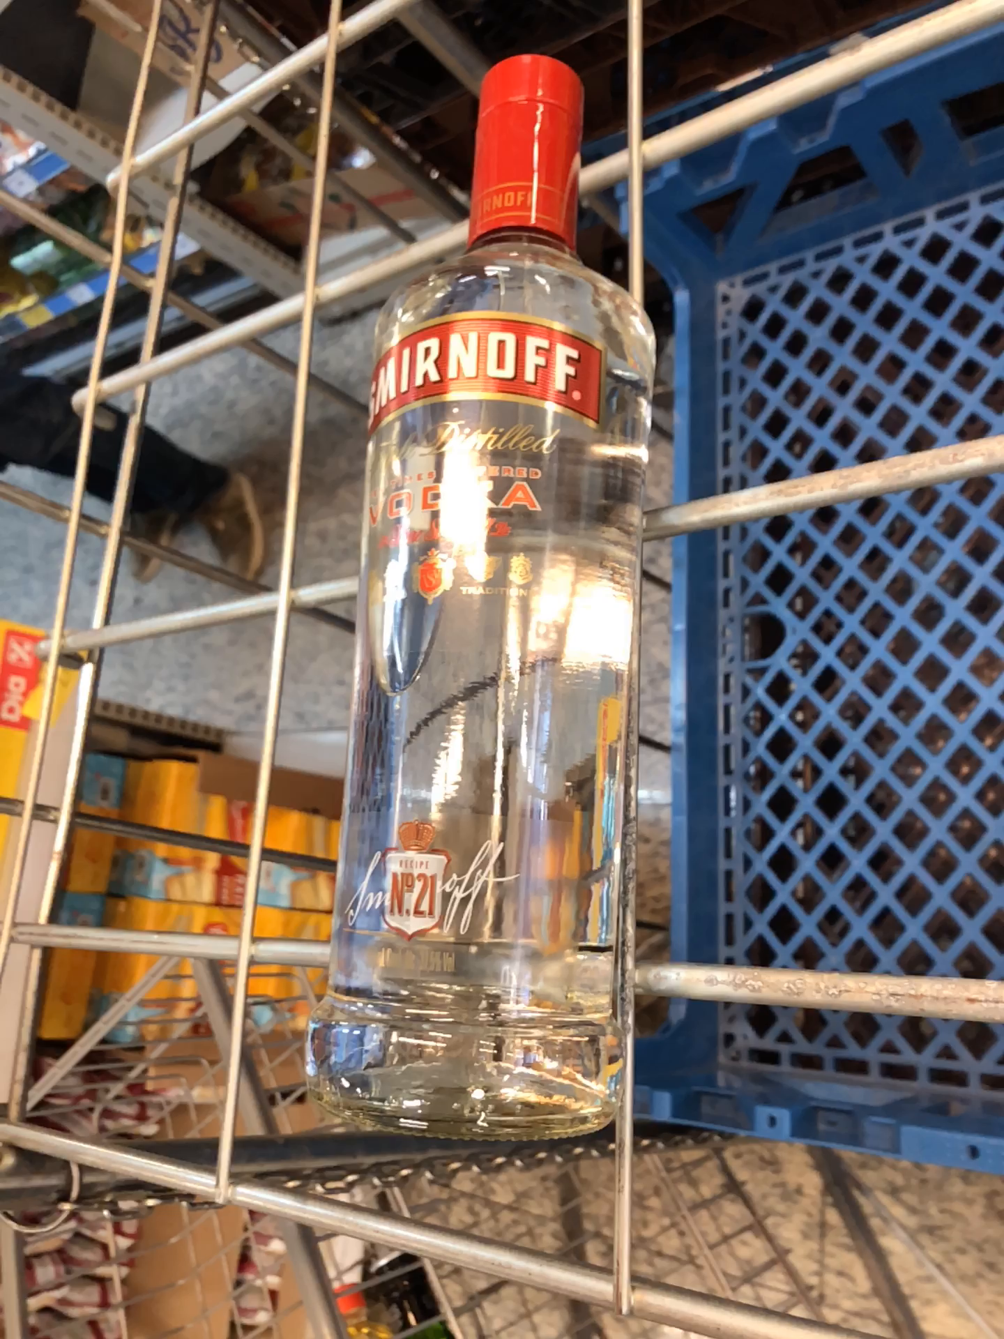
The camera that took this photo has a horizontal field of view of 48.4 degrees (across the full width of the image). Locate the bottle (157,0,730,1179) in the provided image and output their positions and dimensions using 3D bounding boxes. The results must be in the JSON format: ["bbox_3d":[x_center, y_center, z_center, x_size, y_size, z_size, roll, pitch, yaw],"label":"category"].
[{"bbox_3d":[-0.006,-0.038,0.319,0.101,0.099,0.310,-6,75,37],"label":"bottle"}]
